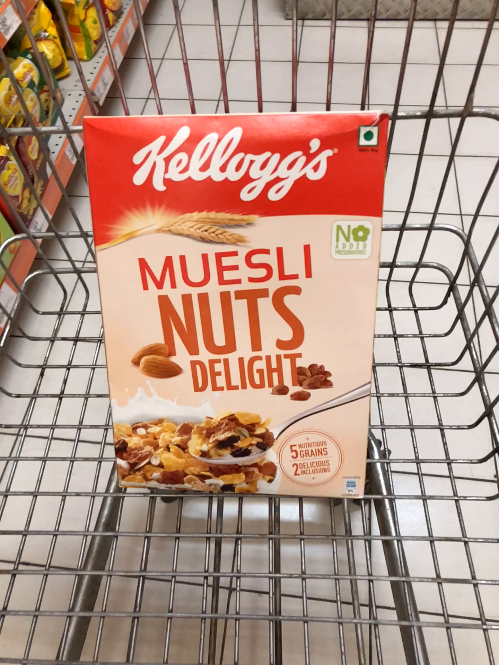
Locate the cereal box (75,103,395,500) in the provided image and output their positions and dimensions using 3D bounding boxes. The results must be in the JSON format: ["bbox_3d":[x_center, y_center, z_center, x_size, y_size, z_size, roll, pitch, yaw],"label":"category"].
[{"bbox_3d":[-0.007,-0.019,0.378,0.180,0.249,0.070,2,18,5],"label":"cereal box"}]
